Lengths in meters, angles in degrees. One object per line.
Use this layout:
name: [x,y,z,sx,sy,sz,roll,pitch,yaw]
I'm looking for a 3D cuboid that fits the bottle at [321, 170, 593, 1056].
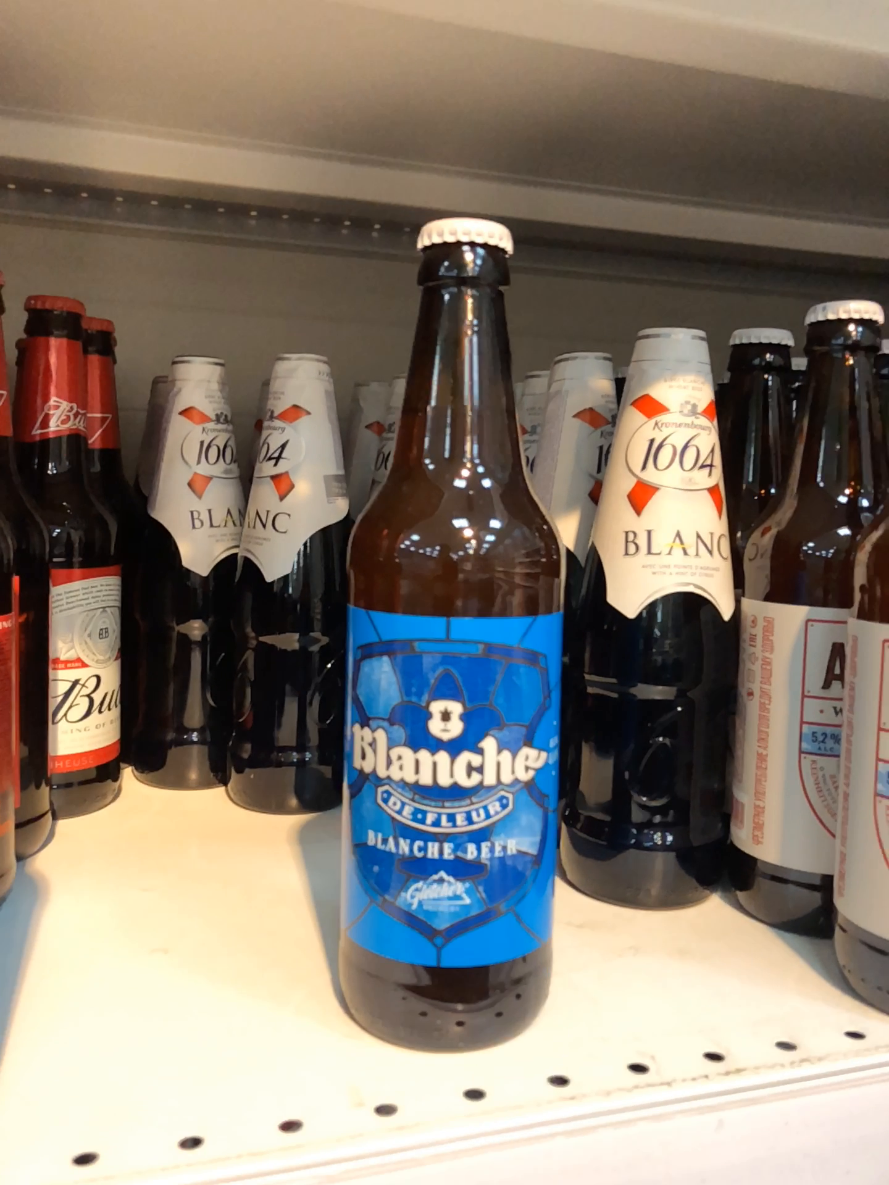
bottle: [0.000,0.007,0.306,0.070,0.245,0.069,1,4,0]
